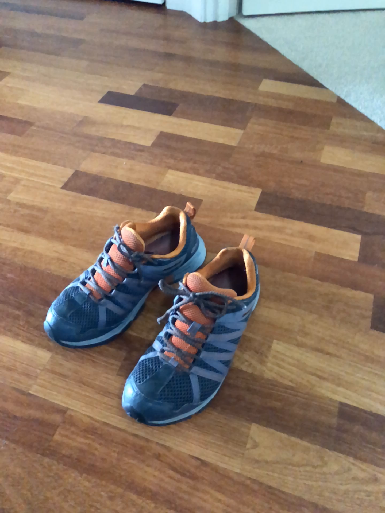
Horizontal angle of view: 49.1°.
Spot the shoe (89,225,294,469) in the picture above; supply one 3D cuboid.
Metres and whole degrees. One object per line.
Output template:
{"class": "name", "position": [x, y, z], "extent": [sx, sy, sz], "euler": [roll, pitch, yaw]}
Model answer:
{"class": "shoe", "position": [0.013, 0.105, 0.563], "extent": [0.119, 0.117, 0.280], "euler": [26, 54, 22]}

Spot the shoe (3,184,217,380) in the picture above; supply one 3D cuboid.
{"class": "shoe", "position": [-0.104, 0.028, 0.627], "extent": [0.282, 0.117, 0.113], "euler": [-36, 57, -26]}
